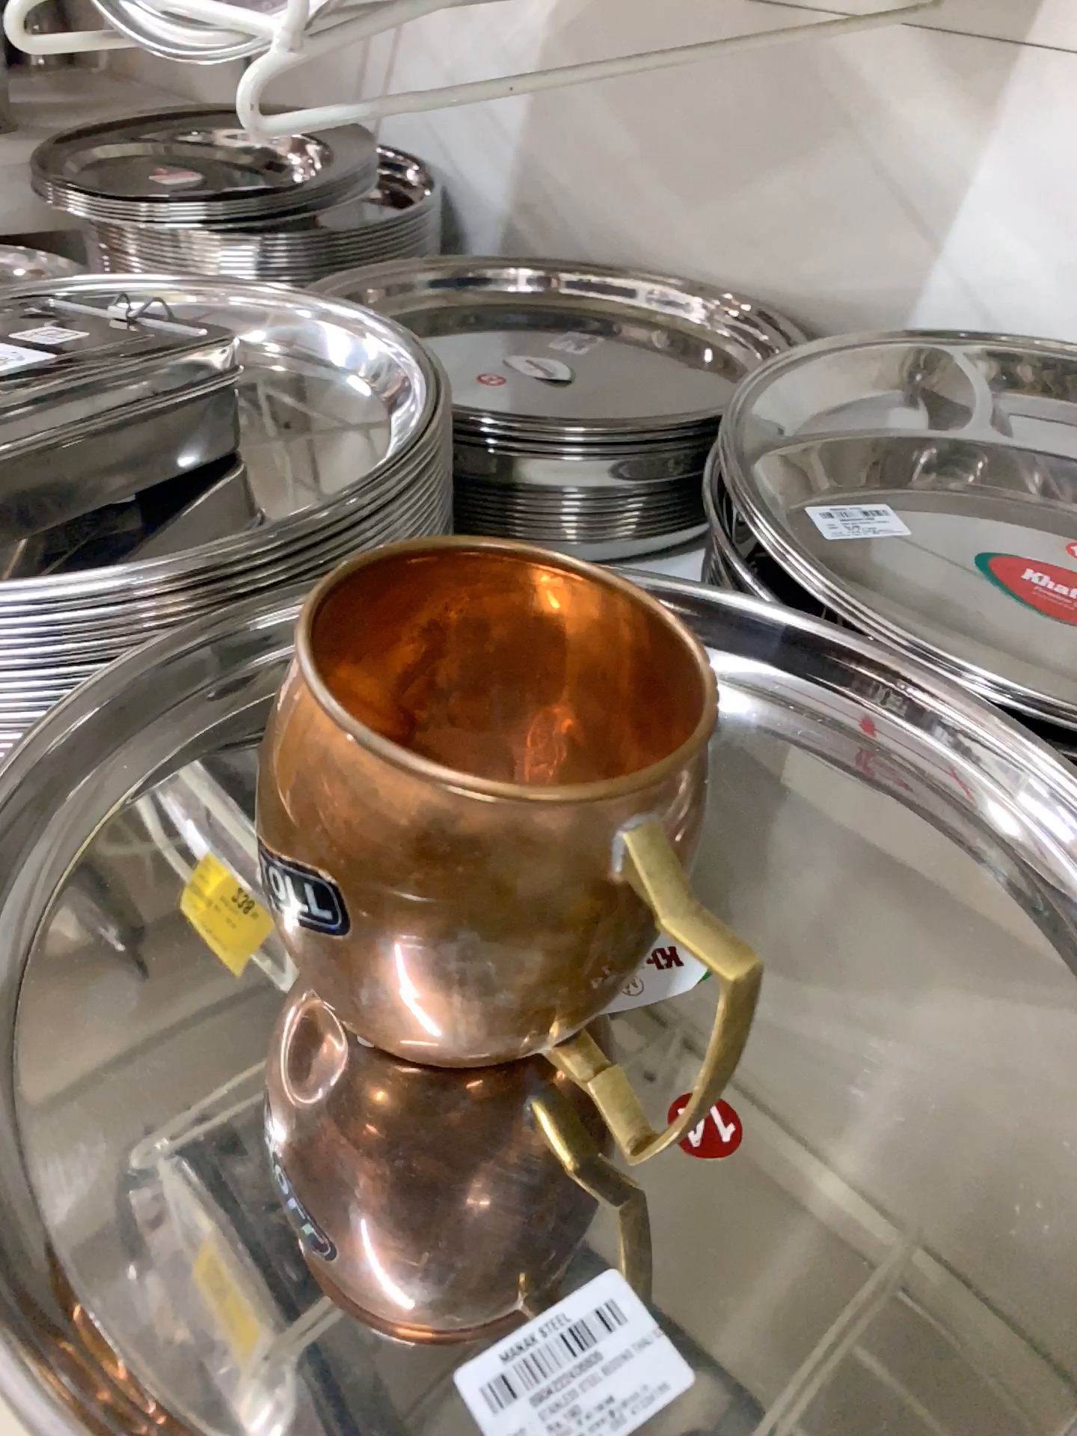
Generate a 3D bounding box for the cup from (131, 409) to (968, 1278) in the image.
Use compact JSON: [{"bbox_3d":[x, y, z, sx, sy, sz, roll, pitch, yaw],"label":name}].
[{"bbox_3d":[-0.006,0.014,0.220,0.090,0.090,0.120,-24,49,-31],"label":"cup"}]
